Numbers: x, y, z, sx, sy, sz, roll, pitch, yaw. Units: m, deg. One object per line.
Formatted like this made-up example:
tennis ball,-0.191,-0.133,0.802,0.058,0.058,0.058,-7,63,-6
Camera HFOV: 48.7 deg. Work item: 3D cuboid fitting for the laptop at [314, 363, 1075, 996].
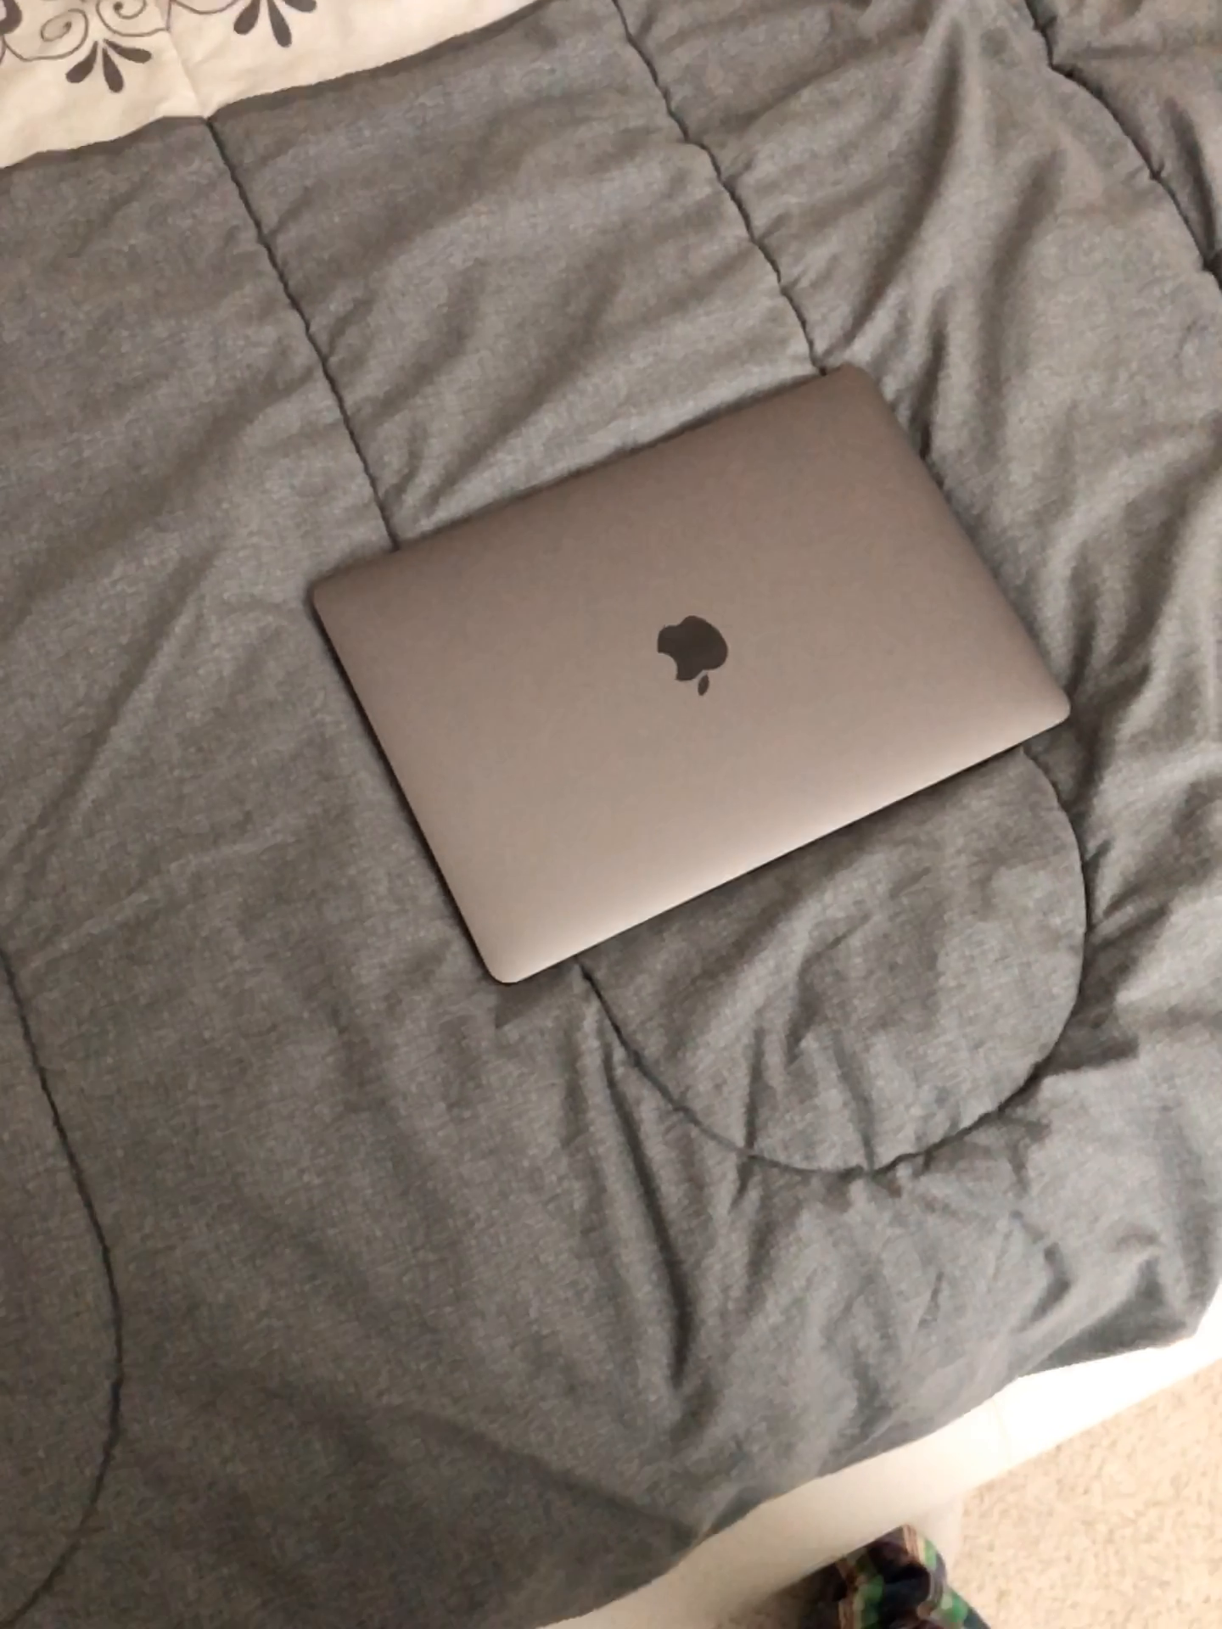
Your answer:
laptop,0.040,-0.074,0.632,0.295,0.008,0.207,-25,78,-11
